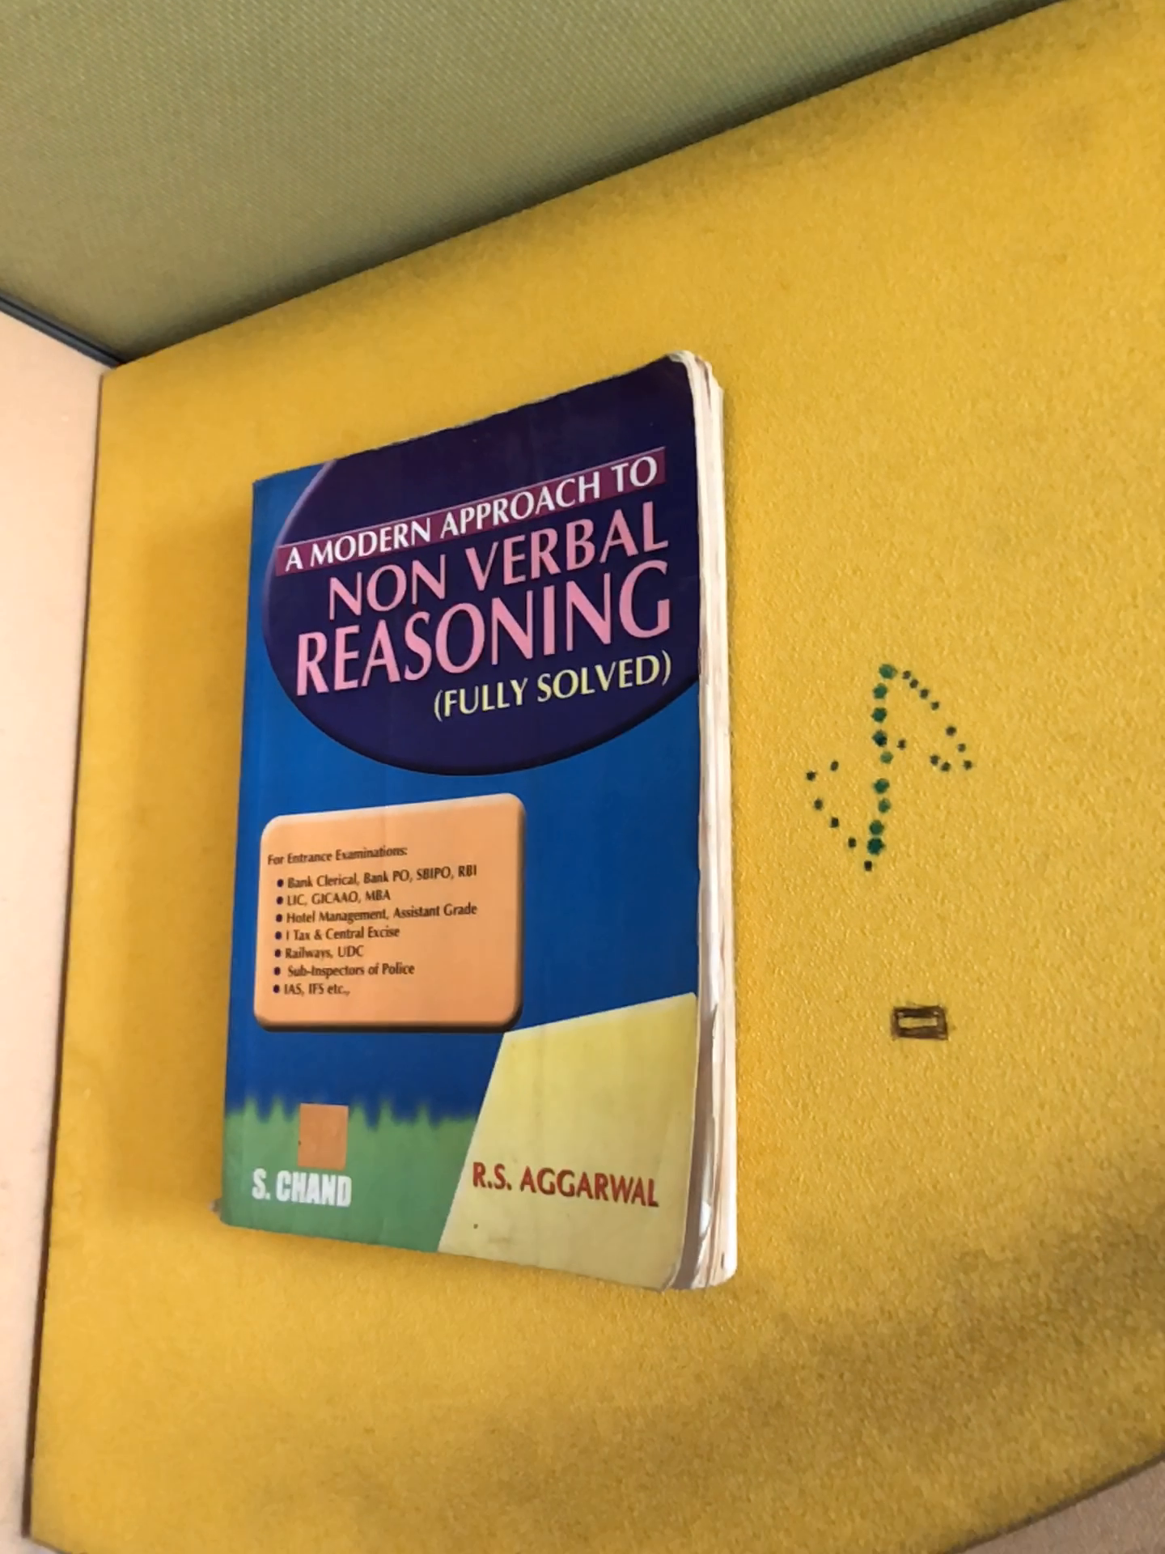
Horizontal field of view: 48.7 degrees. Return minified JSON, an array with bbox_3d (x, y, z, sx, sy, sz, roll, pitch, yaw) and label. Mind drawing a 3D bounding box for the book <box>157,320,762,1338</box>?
[{"bbox_3d":[-0.039,0.014,0.362,0.171,0.040,0.240,-6,78,31],"label":"book"}]
